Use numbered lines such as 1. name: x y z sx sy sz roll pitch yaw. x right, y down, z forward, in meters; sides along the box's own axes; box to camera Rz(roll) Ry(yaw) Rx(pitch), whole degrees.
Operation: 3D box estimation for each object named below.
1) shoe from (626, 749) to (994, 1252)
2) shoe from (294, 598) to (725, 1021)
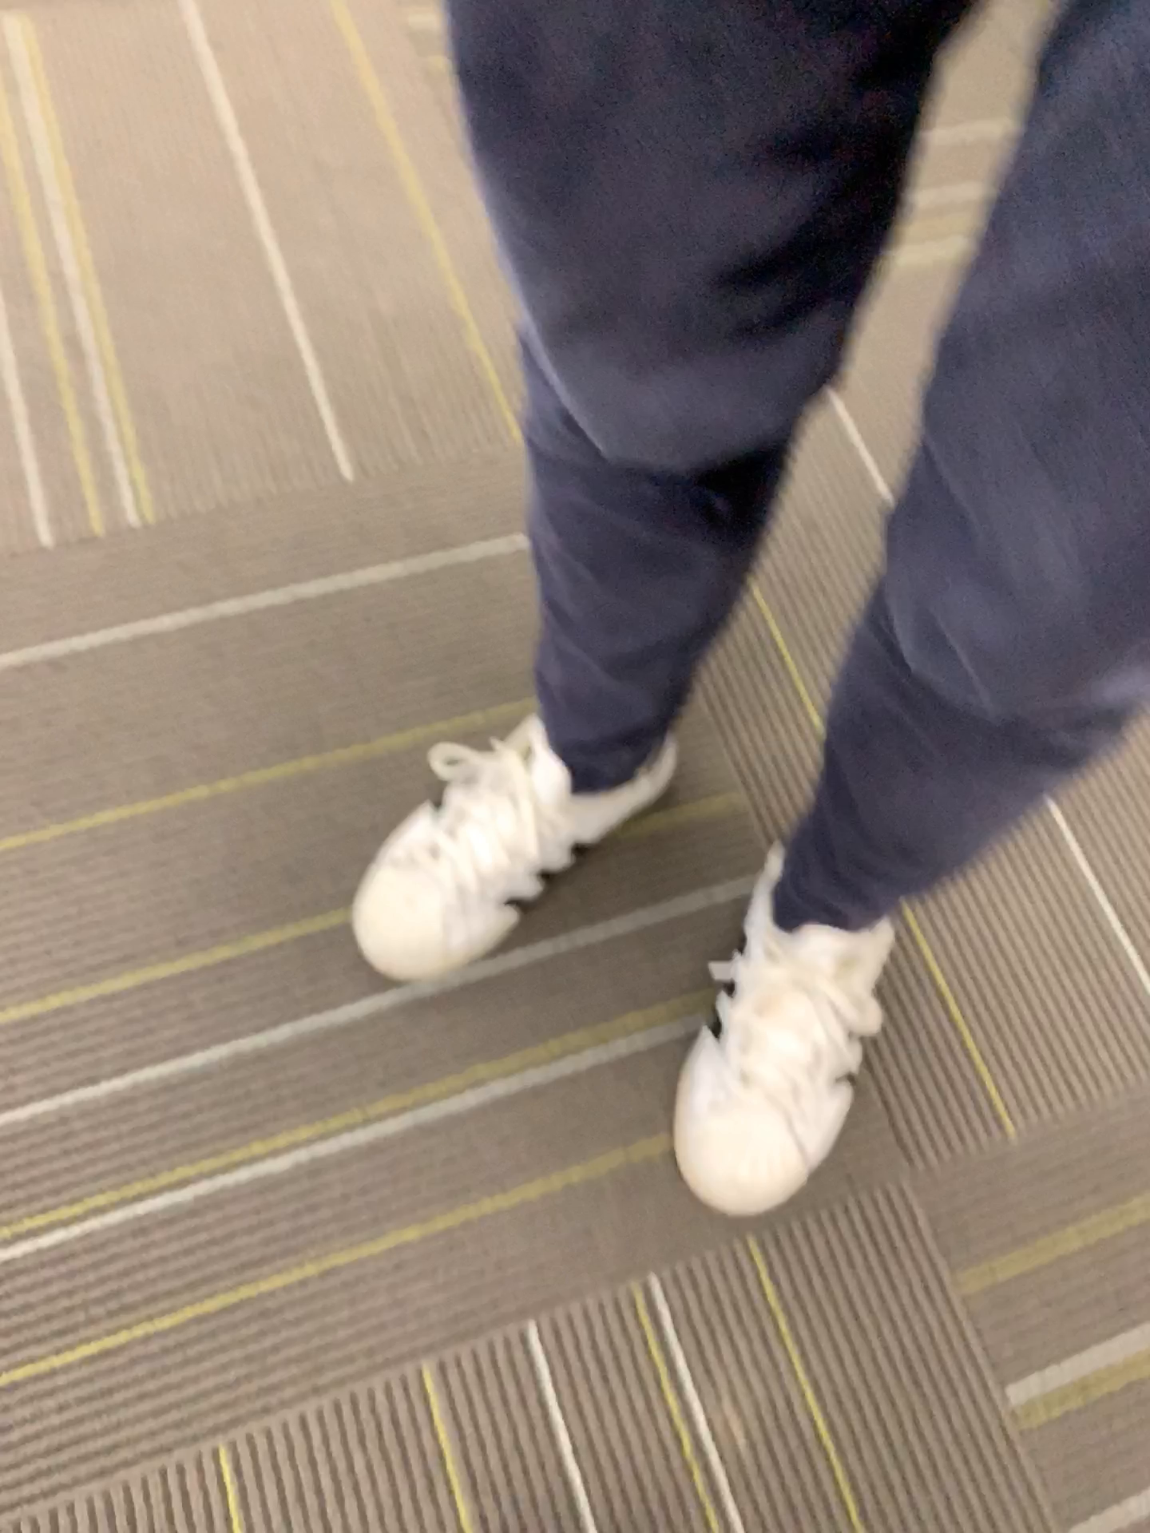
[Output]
1. shoe: 0.143 0.138 0.724 0.108 0.104 0.263 27 64 7
2. shoe: -0.039 0.025 0.767 0.258 0.104 0.105 -40 74 -22
